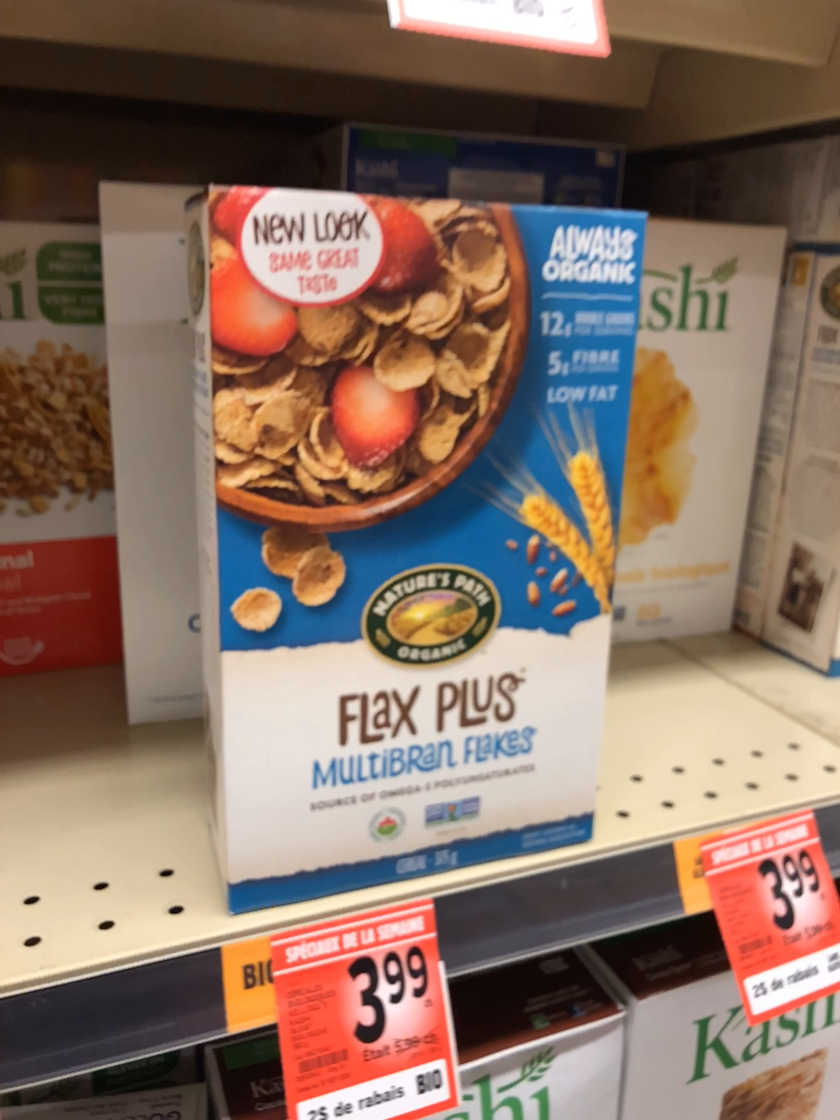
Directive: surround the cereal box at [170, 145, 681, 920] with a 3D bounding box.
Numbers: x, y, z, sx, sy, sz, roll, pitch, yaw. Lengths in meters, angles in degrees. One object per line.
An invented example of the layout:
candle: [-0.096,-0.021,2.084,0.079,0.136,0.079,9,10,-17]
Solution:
cereal box: [-0.004,-0.010,0.376,0.170,0.269,0.070,-4,18,-20]
